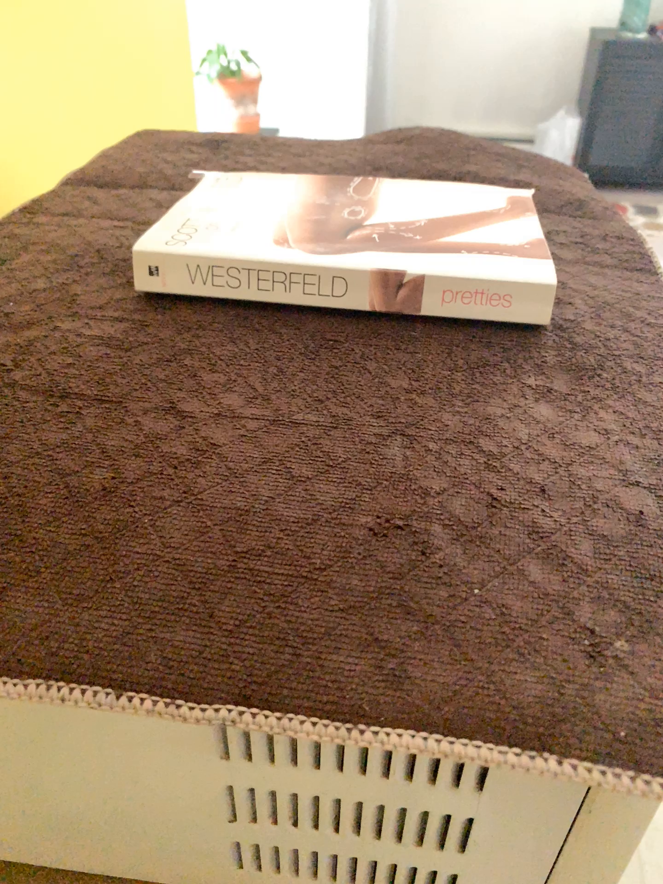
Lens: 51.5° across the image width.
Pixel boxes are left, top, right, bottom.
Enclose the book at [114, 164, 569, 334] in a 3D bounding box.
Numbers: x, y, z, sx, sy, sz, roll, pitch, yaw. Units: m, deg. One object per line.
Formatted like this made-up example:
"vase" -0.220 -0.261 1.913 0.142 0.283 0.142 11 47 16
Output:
"book" 0.011 -0.120 0.400 0.220 0.030 0.151 6 36 5
